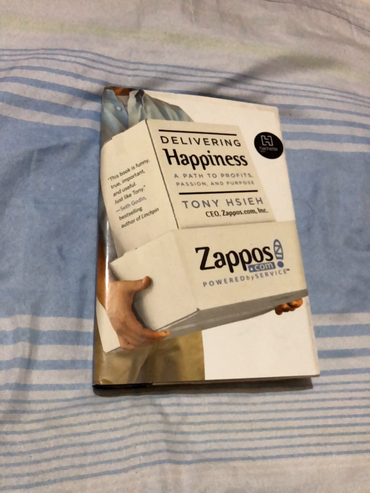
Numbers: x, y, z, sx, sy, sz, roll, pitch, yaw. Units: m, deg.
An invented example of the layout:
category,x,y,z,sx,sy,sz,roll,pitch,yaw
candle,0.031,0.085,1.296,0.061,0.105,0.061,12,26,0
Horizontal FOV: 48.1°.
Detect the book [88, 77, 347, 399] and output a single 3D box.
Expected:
category,x,y,z,sx,sy,sz,roll,pitch,yaw
book,0.015,-0.012,0.329,0.170,0.050,0.240,2,67,-13
